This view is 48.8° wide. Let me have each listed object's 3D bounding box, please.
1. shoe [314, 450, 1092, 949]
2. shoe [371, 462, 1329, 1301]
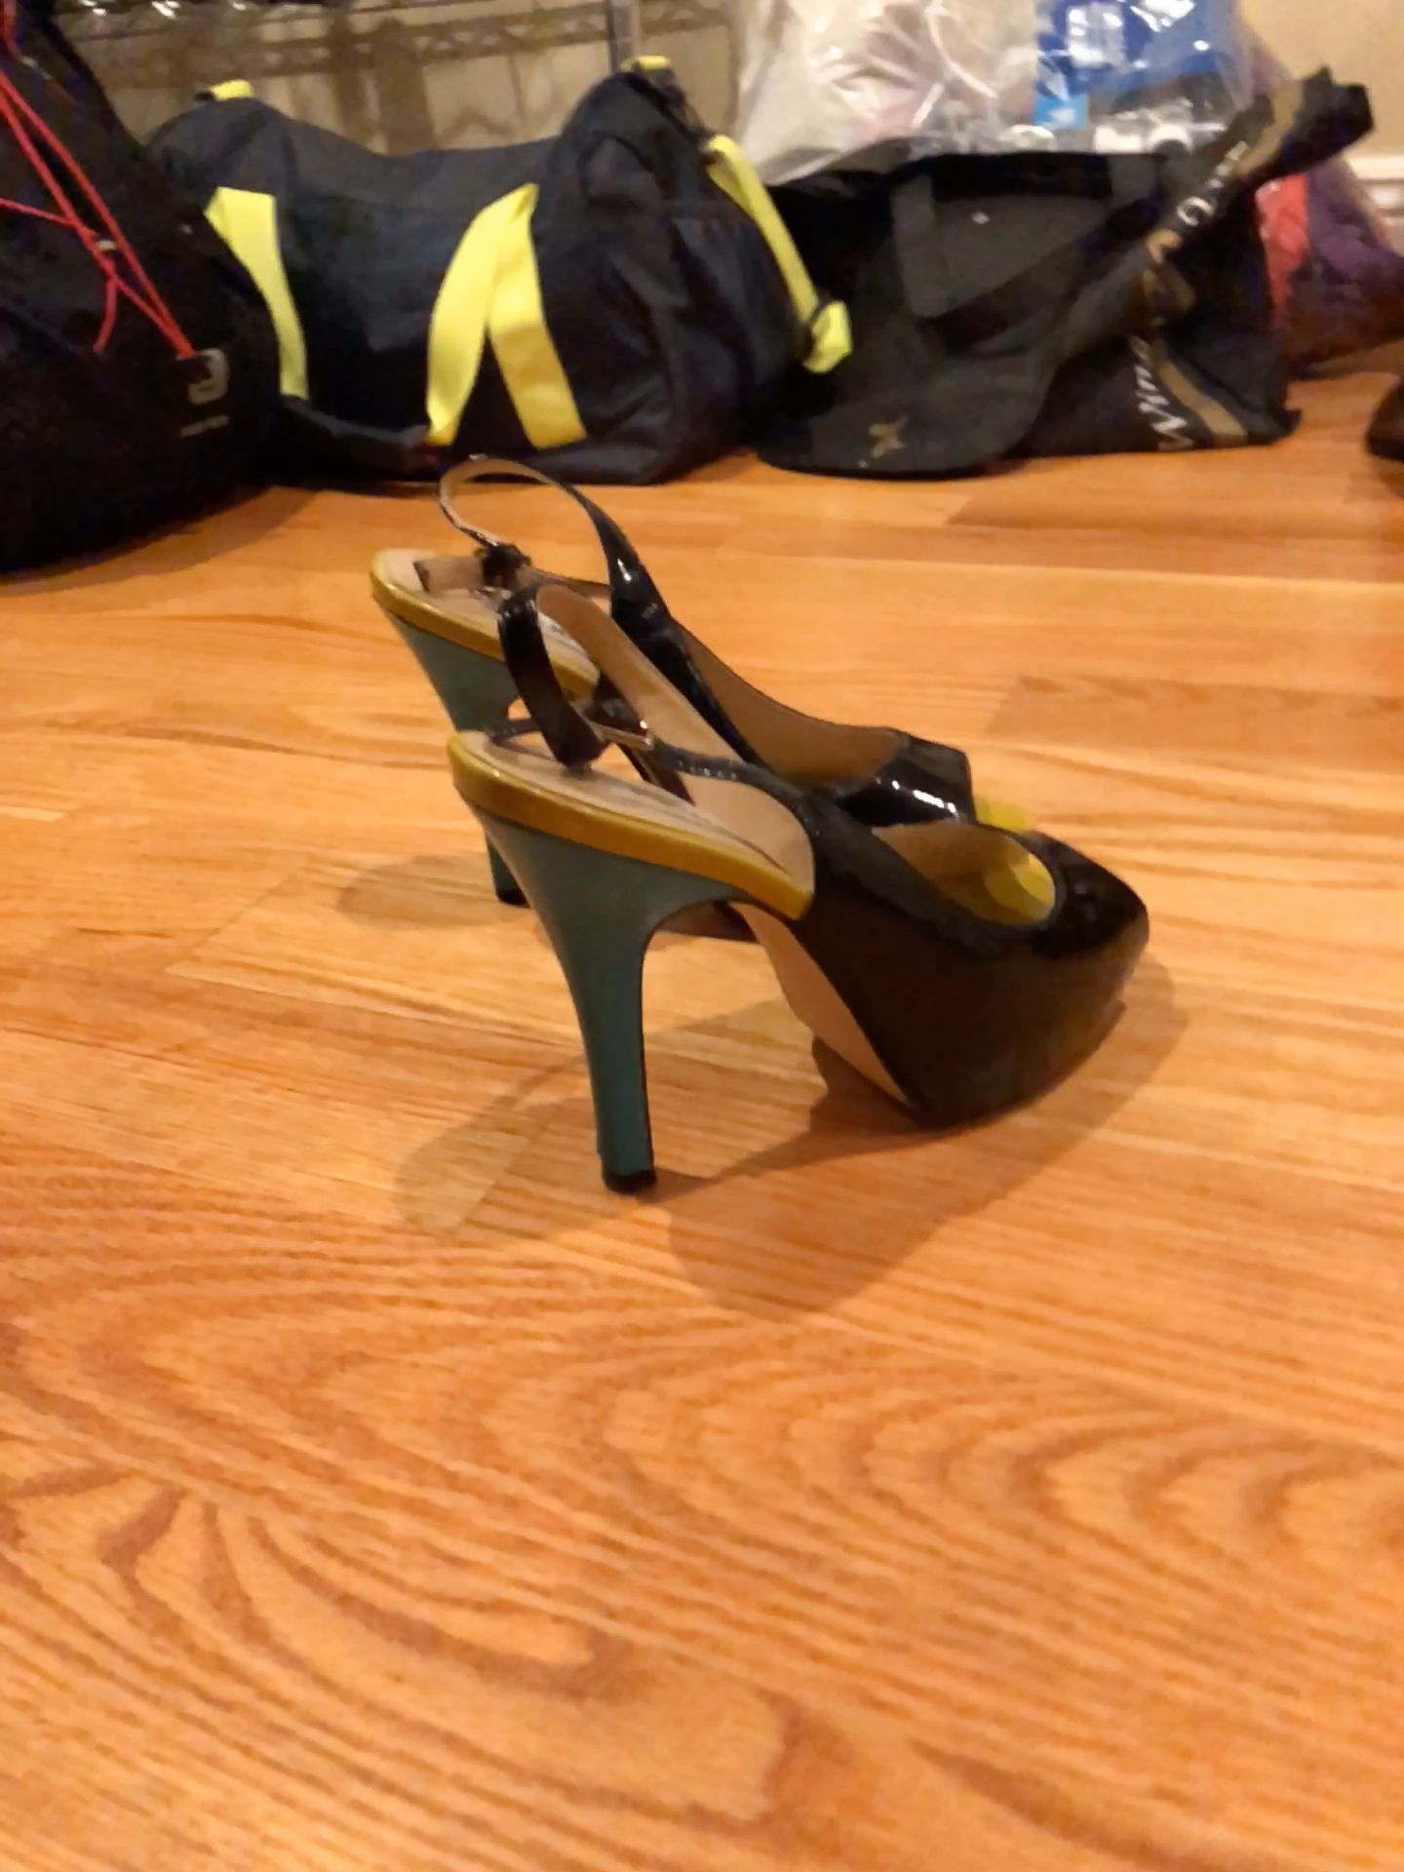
[{"bbox_3d":[0.006,-0.072,0.465,0.204,0.121,0.085,1,28,9],"label":"shoe"},{"bbox_3d":[0.040,-0.026,0.375,0.201,0.131,0.085,-19,31,-26],"label":"shoe"}]
